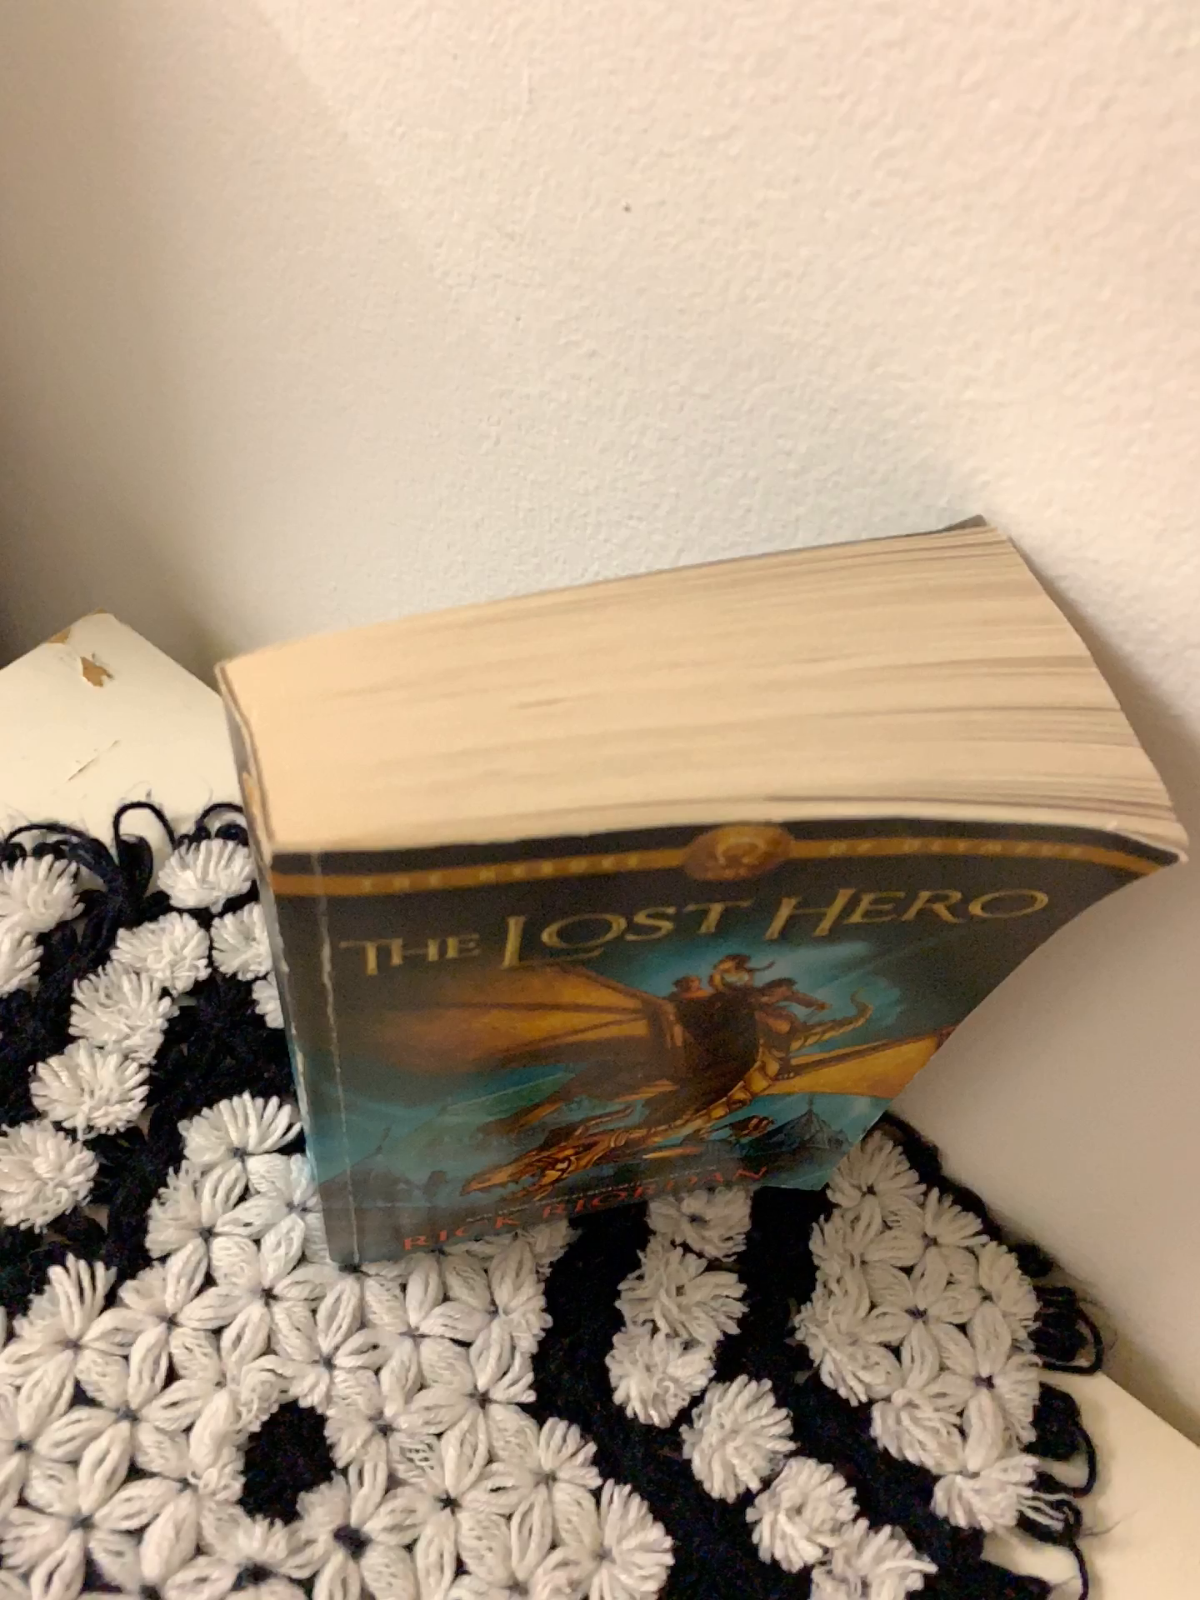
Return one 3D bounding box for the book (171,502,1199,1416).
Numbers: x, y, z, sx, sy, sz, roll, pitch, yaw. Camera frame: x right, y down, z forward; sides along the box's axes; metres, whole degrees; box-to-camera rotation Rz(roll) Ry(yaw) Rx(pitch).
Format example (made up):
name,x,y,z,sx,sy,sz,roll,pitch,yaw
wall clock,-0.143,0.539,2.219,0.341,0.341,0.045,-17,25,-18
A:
name,x,y,z,sx,sy,sz,roll,pitch,yaw
book,0.005,0.041,0.242,0.142,0.177,0.068,-9,53,-16
